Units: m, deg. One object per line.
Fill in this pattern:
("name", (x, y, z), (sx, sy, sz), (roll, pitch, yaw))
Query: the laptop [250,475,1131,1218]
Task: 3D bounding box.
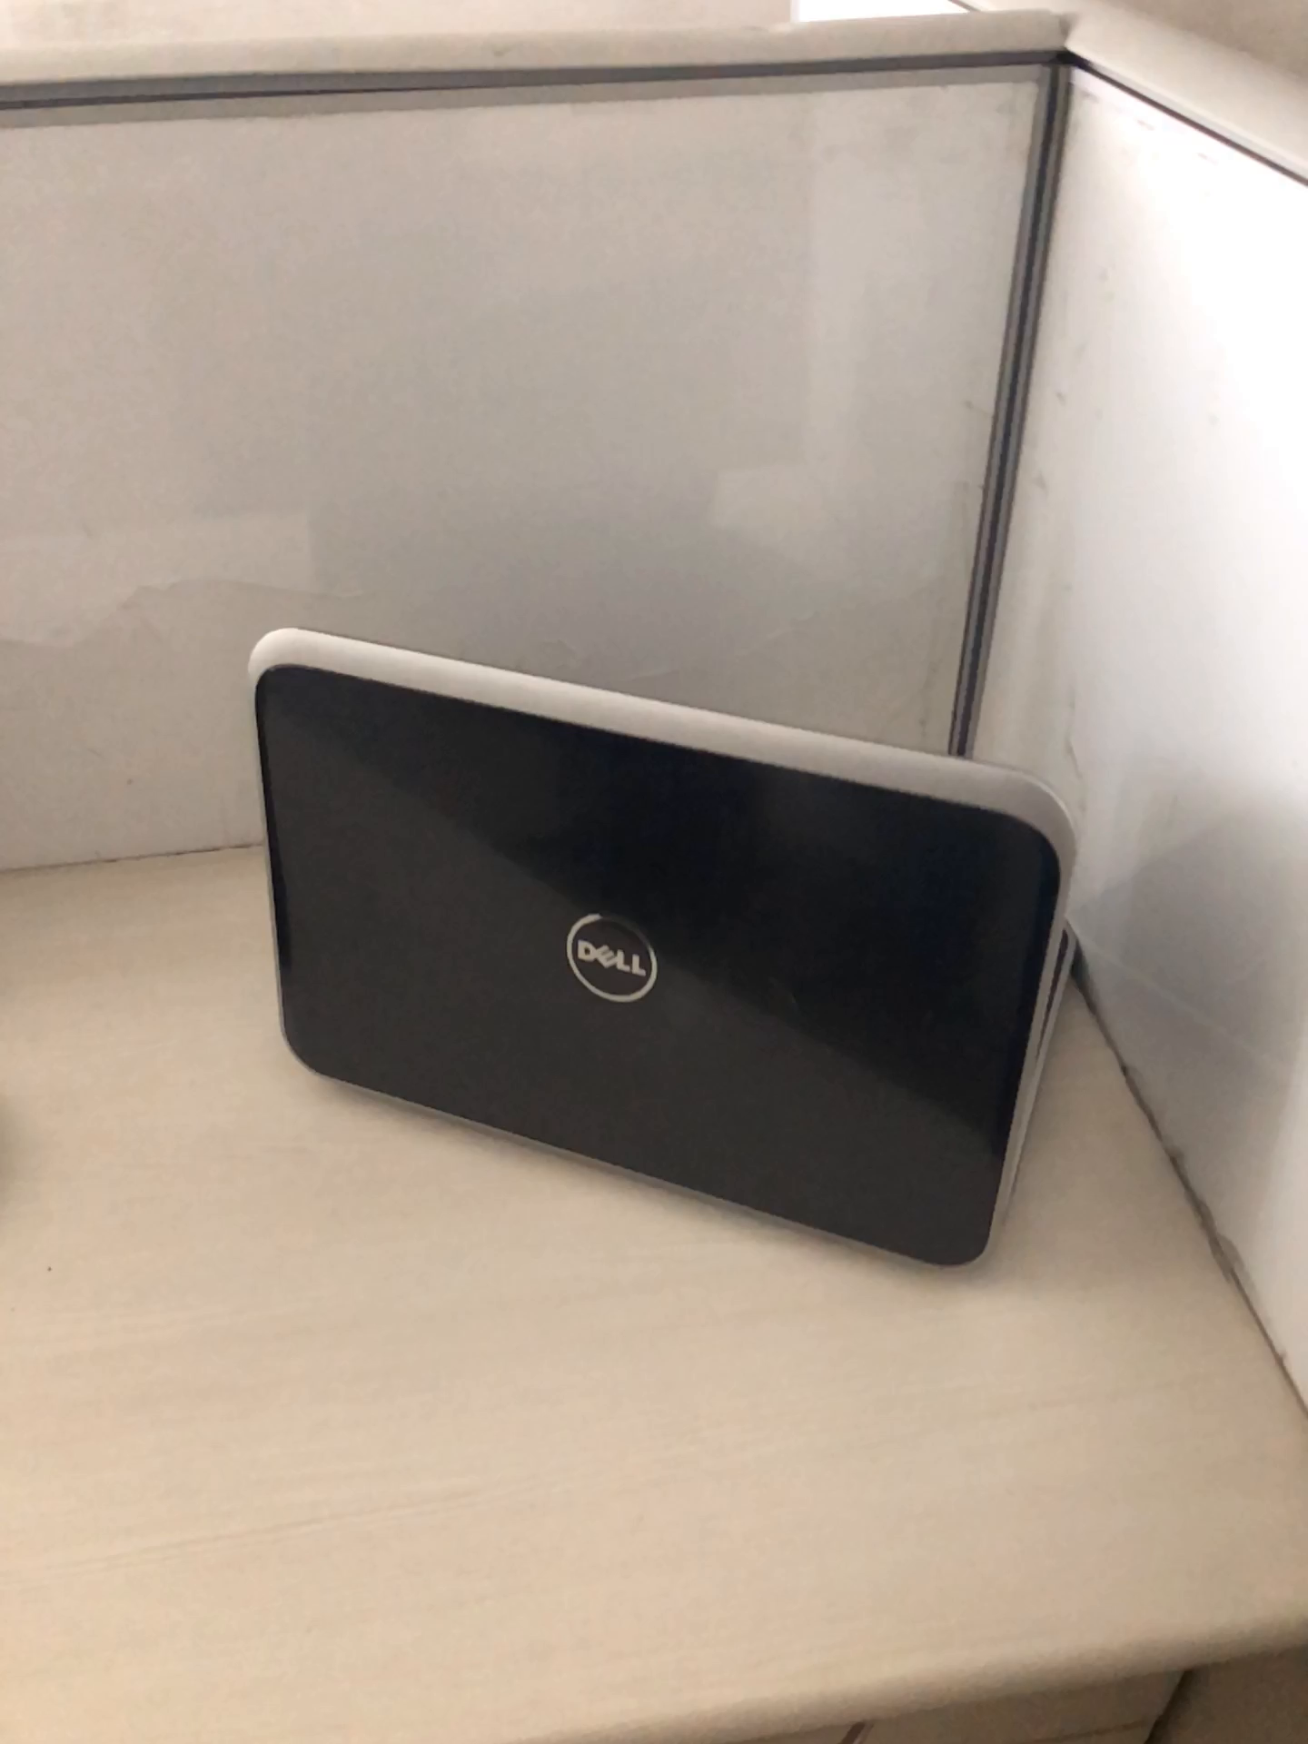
("laptop", (0.033, -0.030, 0.719), (0.333, 0.217, 0.240), (14, 39, 16))
